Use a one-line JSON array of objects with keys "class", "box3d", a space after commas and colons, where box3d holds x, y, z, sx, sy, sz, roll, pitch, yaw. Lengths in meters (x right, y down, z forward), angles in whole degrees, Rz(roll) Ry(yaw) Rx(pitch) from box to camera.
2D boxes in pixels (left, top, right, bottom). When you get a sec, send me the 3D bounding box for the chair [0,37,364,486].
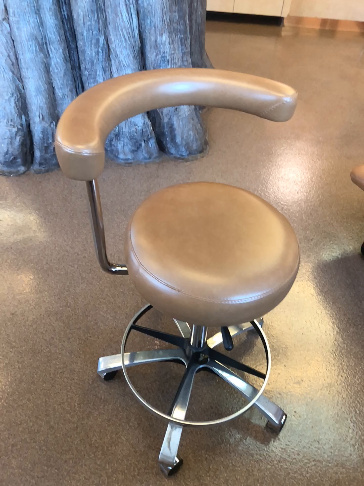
[{"class": "chair", "box3d": [0.054, 0.076, 0.933, 0.611, 0.805, 0.593, -22, 49, -25]}]
